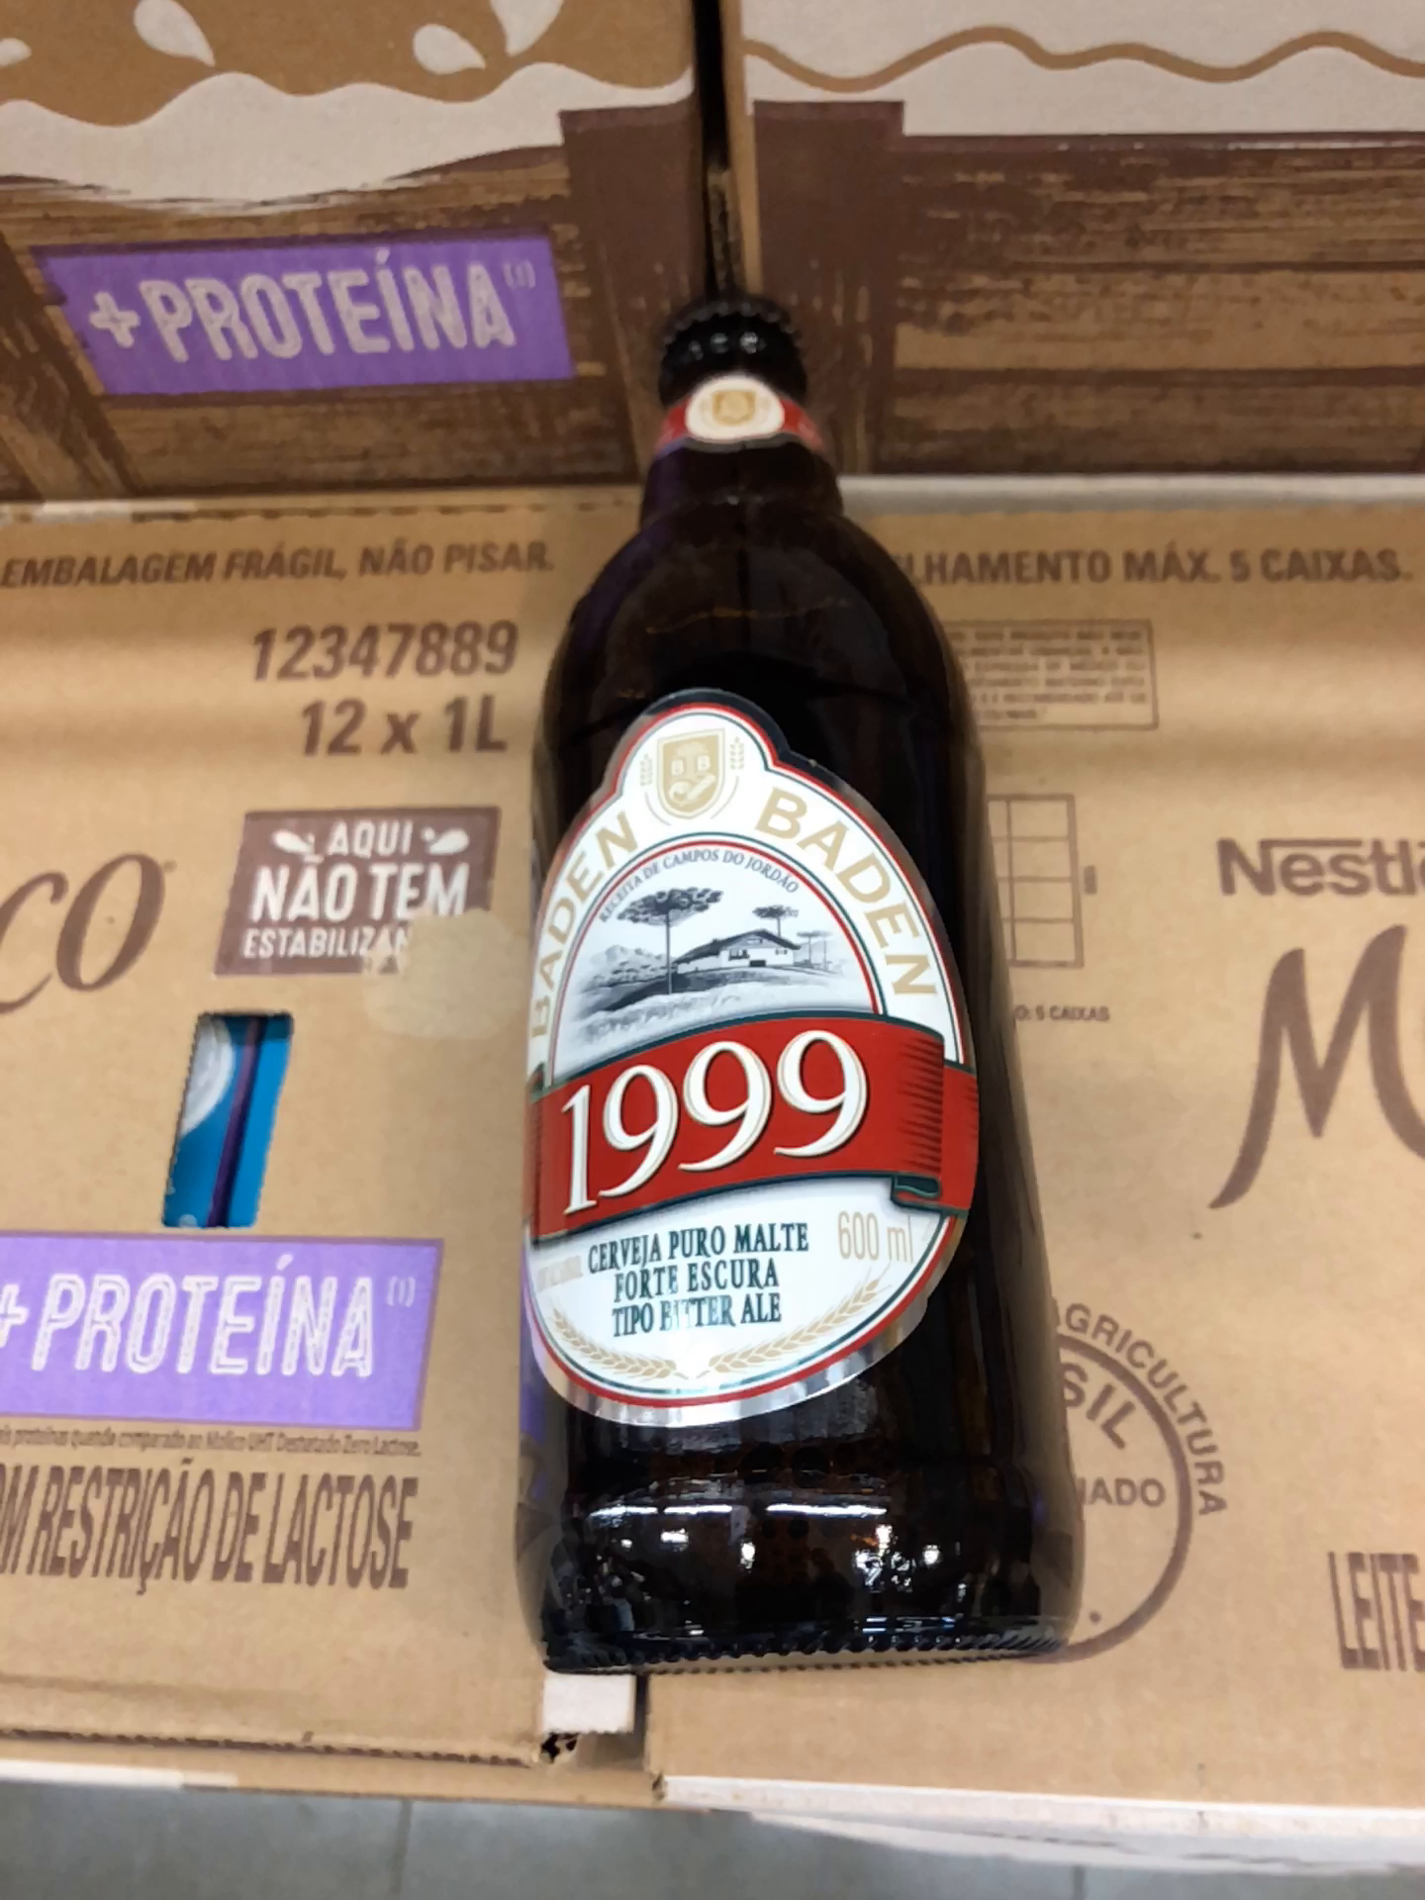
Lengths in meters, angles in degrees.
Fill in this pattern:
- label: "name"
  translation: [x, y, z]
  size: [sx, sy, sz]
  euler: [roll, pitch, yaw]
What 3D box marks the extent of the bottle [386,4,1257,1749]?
- label: "bottle"
  translation: [0.007, -0.023, 0.275]
  size: [0.090, 0.100, 0.281]
  euler: [-5, 62, 3]
